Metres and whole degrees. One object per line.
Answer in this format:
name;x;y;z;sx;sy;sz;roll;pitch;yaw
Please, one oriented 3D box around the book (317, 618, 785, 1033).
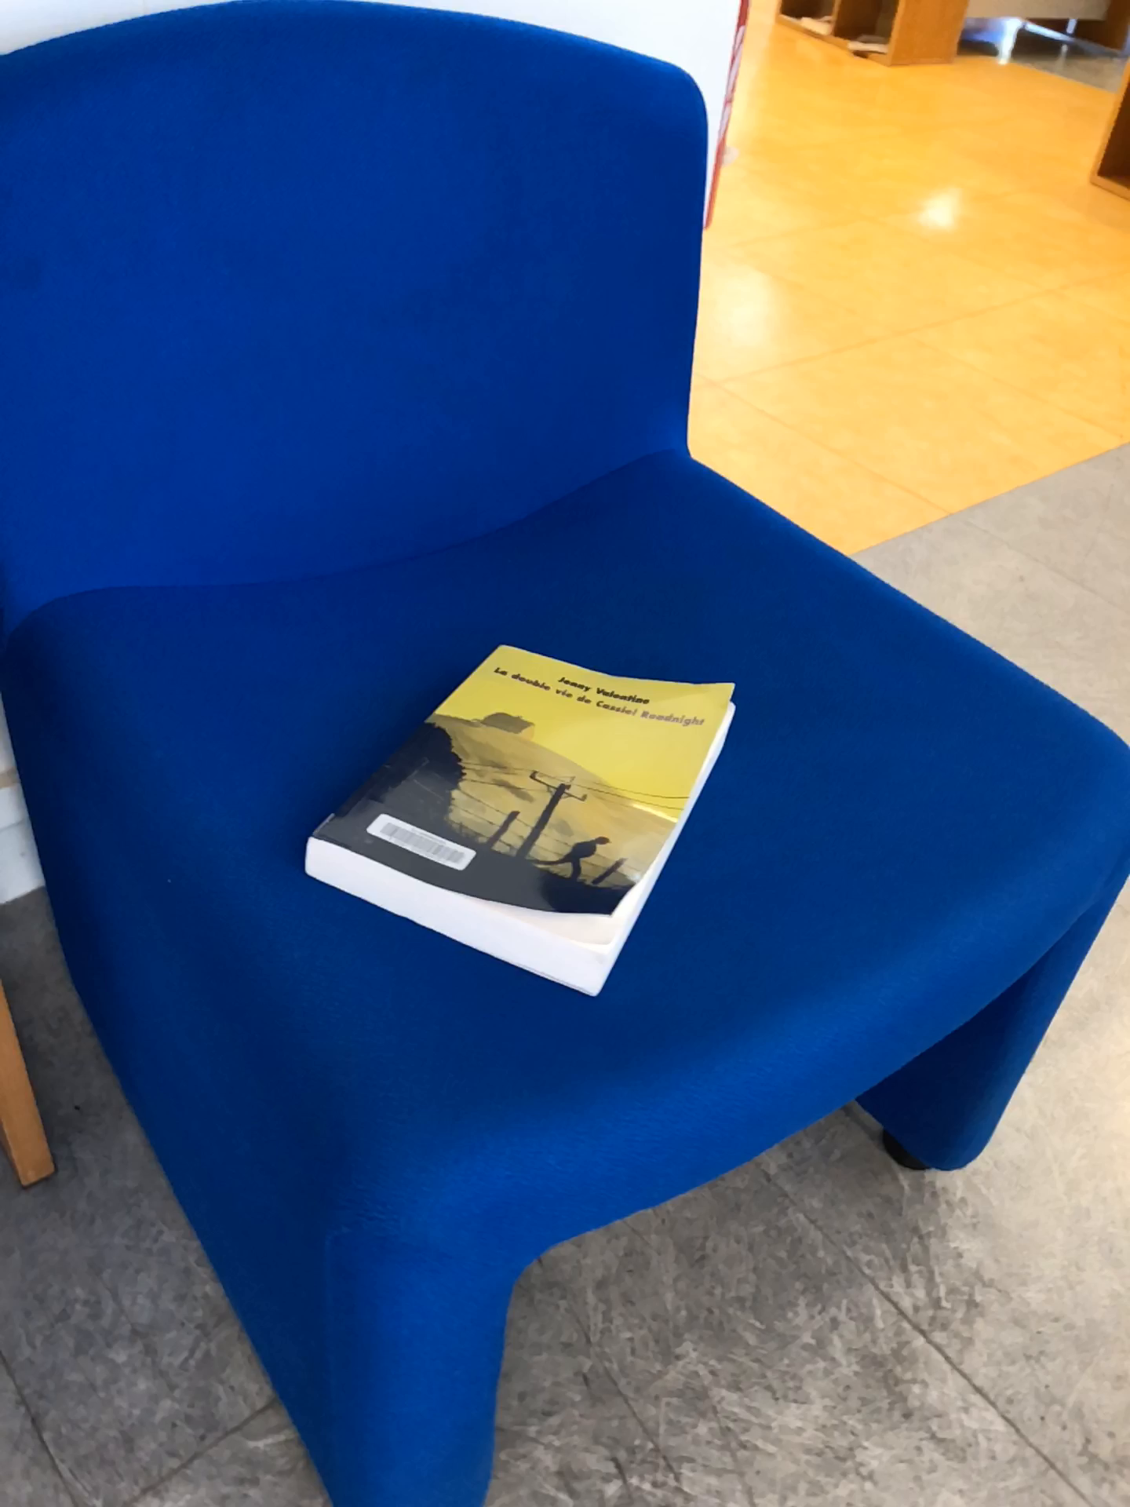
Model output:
book;0.004;0.019;0.586;0.145;0.040;0.216;19;36;14
